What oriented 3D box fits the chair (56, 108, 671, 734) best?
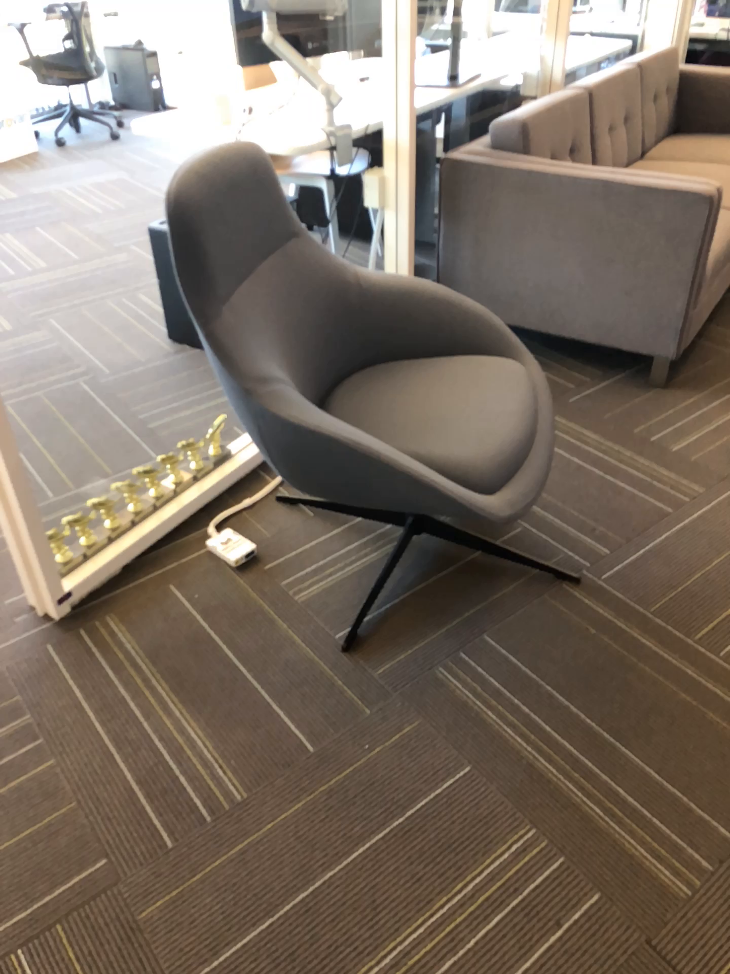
[{"bbox_3d":[0.098,-0.230,1.840,0.961,0.995,0.934,9,37,14],"label":"chair"}]
